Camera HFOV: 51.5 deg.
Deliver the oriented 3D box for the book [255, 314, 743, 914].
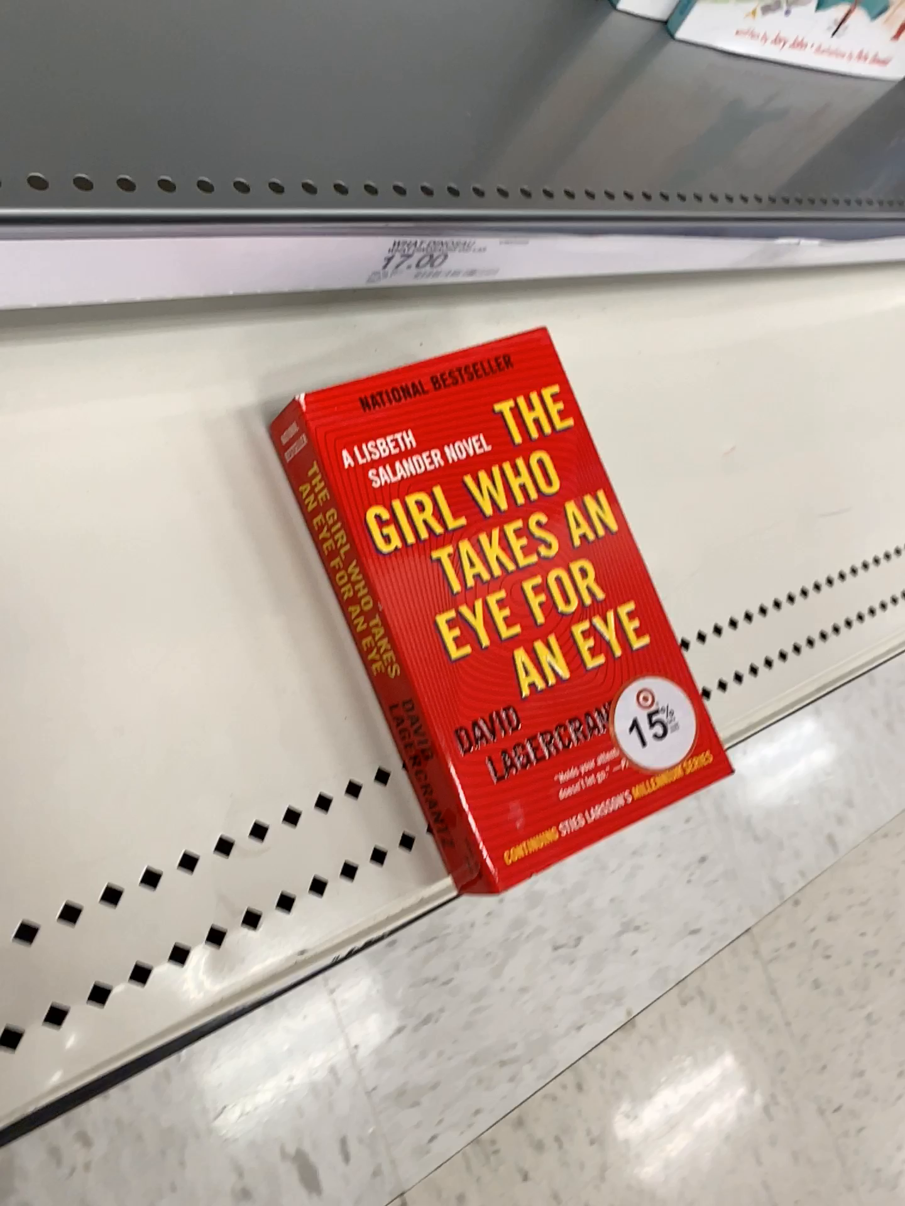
[{"bbox_3d":[0.021,-0.002,0.359,0.115,0.046,0.199,-21,87,-36],"label":"book"}]
